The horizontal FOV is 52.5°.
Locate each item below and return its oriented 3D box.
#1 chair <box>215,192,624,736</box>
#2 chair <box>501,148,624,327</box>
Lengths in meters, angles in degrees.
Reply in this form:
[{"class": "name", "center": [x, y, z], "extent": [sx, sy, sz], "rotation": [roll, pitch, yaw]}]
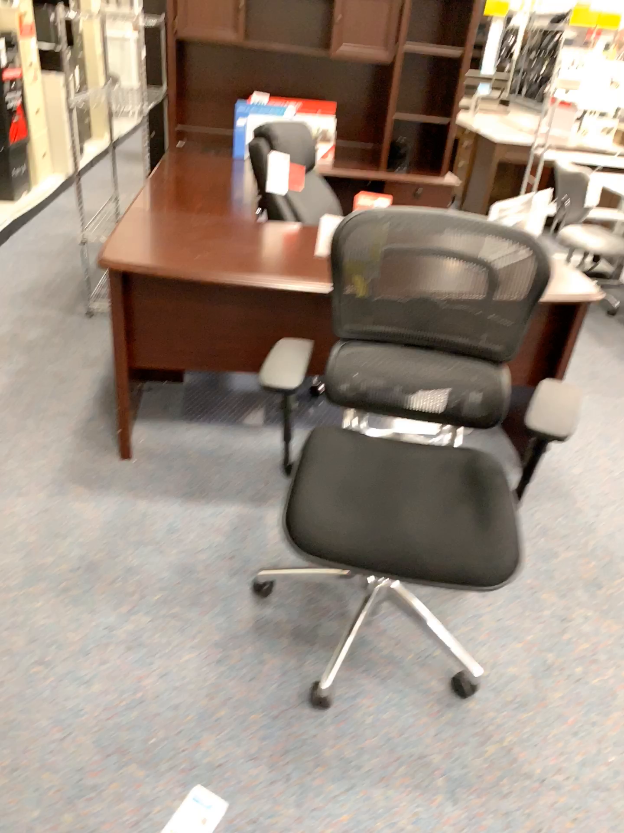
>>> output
[{"class": "chair", "center": [0.196, 0.092, 1.494], "extent": [0.697, 0.983, 0.688], "rotation": [7, 31, 0]}, {"class": "chair", "center": [1.683, -1.088, 3.824], "extent": [0.674, 0.824, 0.711], "rotation": [3, 31, -6]}]
